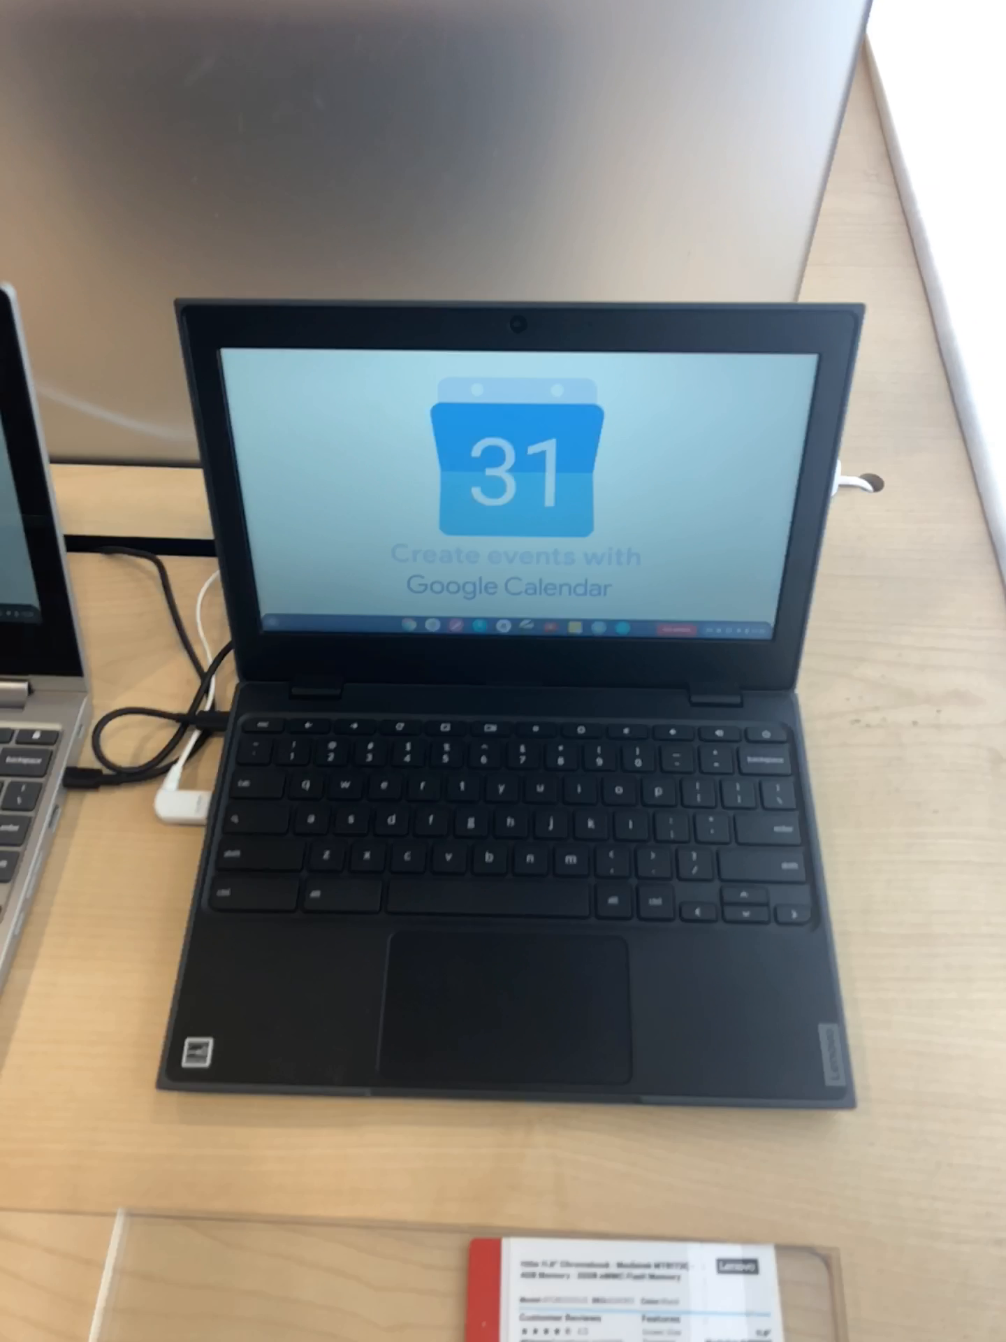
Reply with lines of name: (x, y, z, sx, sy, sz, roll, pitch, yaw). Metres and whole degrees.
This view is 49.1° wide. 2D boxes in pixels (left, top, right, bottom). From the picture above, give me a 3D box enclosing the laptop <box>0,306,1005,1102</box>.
laptop: (0.007, 0.012, 0.456, 0.281, 0.179, 0.271, 1, 54, 2)
